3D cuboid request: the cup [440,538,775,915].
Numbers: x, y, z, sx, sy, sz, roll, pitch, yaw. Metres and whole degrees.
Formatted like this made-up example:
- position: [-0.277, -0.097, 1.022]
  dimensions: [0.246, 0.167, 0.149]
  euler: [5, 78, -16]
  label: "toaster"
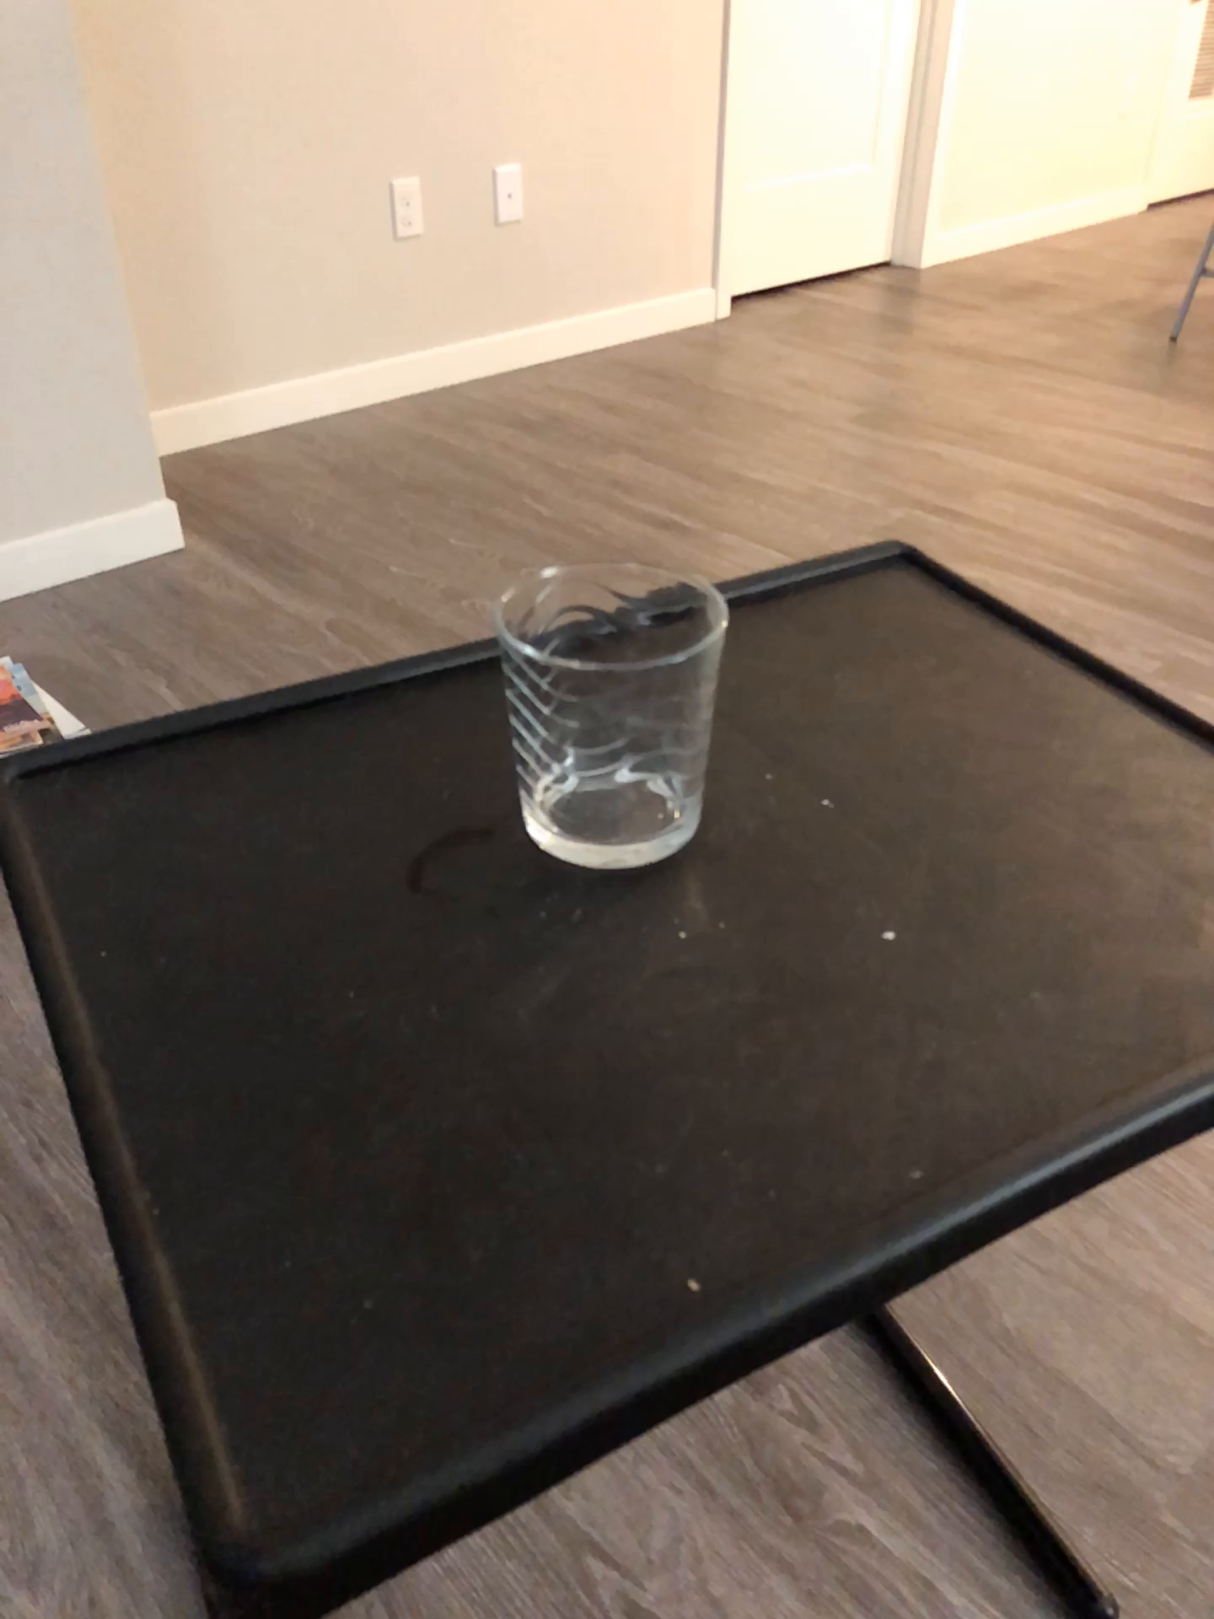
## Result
- position: [0.000, -0.037, 0.533]
  dimensions: [0.090, 0.099, 0.090]
  euler: [0, 34, 0]
  label: "cup"
